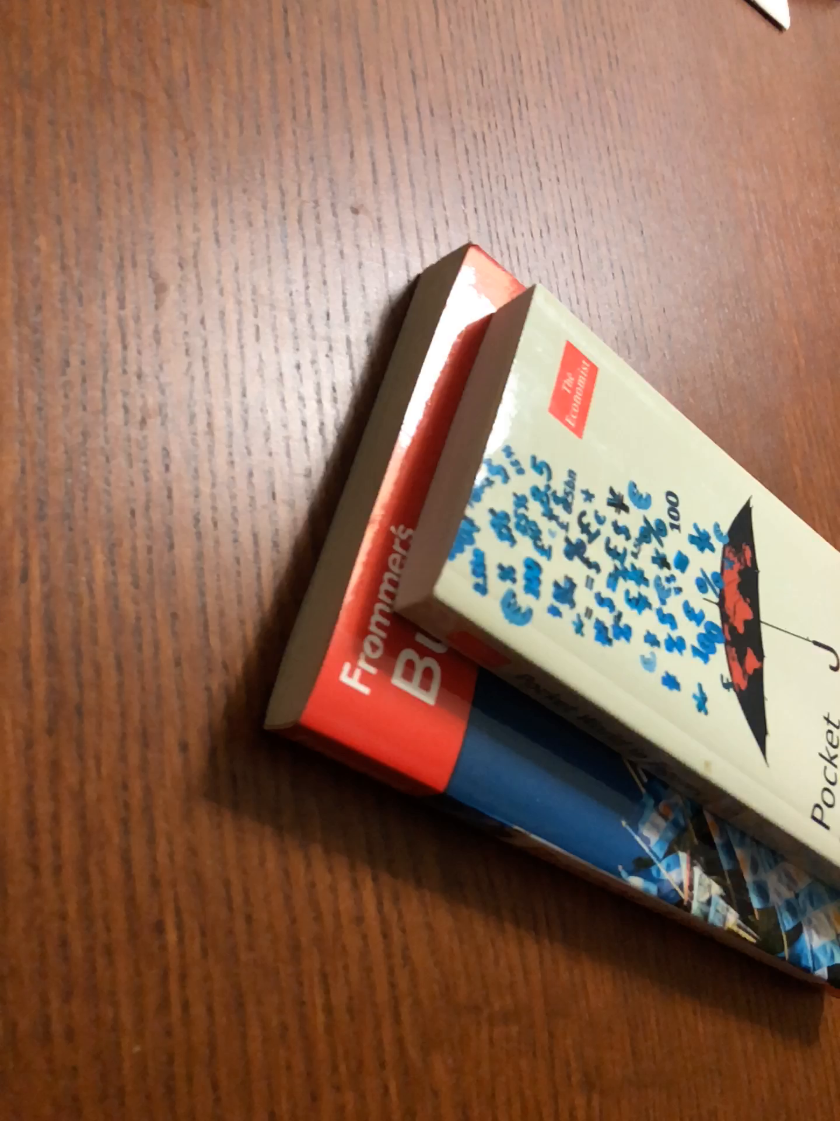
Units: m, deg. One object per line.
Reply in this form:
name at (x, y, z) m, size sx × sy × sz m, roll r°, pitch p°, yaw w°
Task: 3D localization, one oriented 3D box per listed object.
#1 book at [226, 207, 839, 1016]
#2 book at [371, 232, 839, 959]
book at (0.066, 0.022, 0.257) m, size 0.210 × 0.020 × 0.140 m, roll 32°, pitch 59°, yaw -26°
book at (0.086, 0.018, 0.242) m, size 0.200 × 0.020 × 0.100 m, roll 34°, pitch 58°, yaw -25°
